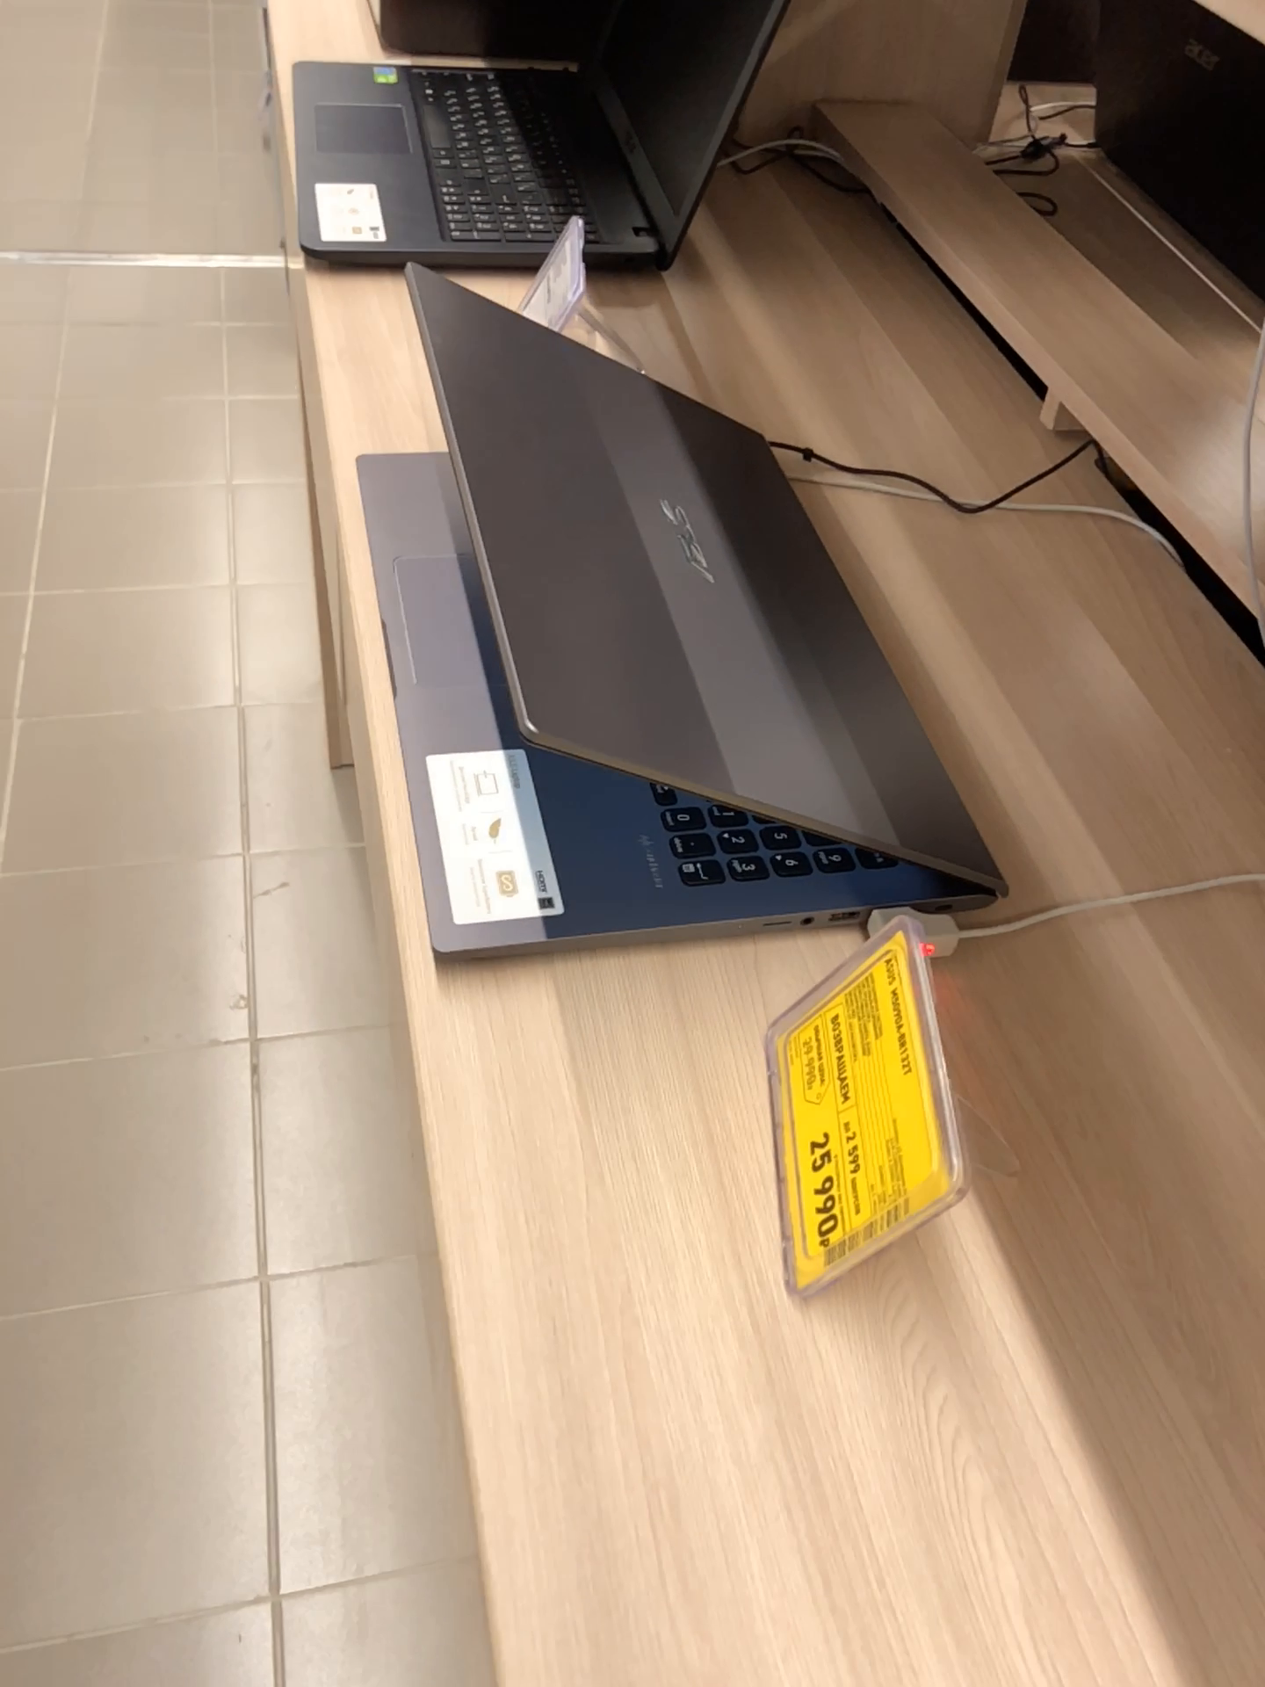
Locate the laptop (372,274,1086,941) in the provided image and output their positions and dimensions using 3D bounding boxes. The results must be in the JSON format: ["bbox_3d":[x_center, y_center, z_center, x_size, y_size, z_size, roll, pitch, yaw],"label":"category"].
[{"bbox_3d":[0.012,-0.132,0.640,0.232,0.111,0.350,-4,45,-13],"label":"laptop"}]
